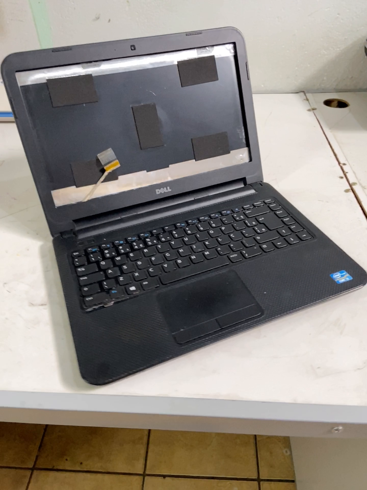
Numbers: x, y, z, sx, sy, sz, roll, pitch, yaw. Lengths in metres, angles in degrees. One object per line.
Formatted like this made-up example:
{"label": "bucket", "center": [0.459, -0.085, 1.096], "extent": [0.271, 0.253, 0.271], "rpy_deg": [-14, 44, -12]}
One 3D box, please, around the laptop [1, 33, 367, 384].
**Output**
{"label": "laptop", "center": [-0.009, -0.088, 0.446], "extent": [0.320, 0.193, 0.337], "rpy_deg": [-16, 43, -15]}
